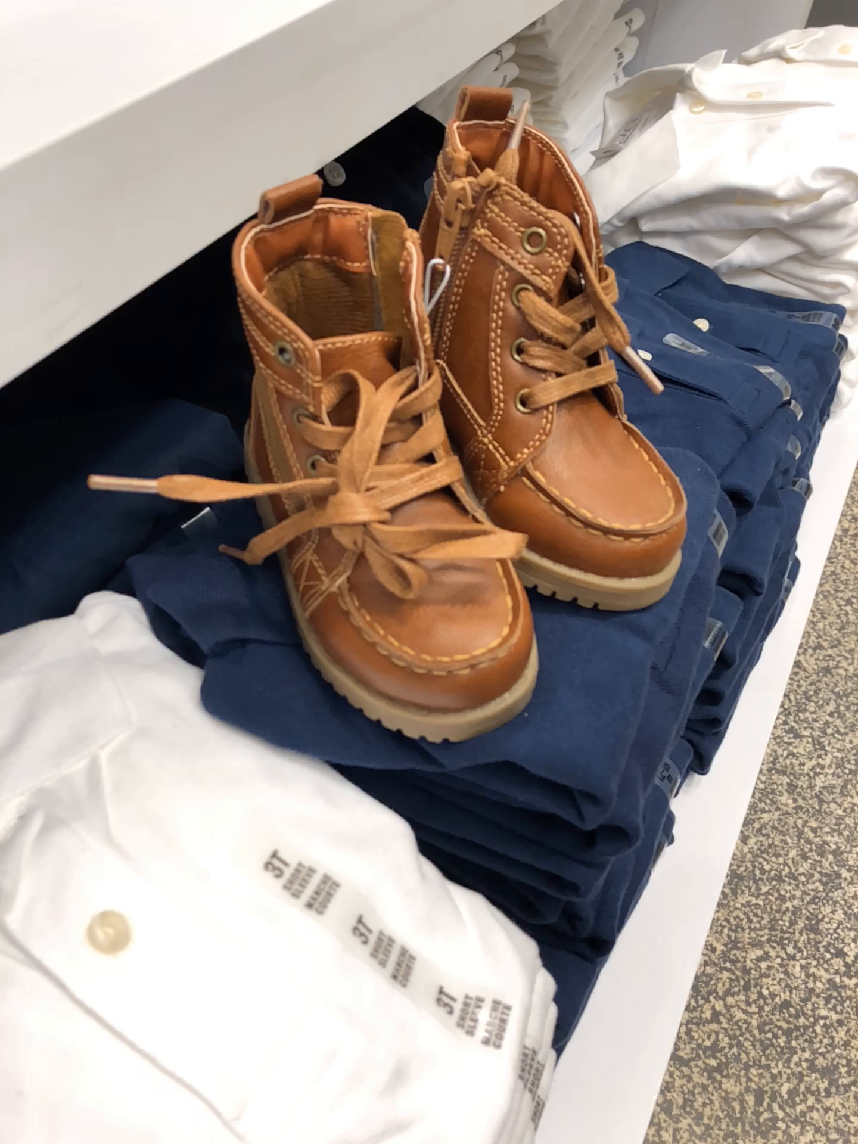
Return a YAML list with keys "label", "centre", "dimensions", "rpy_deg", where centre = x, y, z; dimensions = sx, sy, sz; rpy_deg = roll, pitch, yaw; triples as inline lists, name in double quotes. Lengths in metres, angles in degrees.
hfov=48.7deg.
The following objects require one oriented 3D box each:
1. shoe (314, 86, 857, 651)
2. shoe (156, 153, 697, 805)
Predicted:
- label: "shoe"
  centre: [0.040, -0.076, 0.319]
  dimensions: [0.080, 0.101, 0.161]
  rpy_deg: [-22, 55, -29]
- label: "shoe"
  centre: [-0.010, -0.032, 0.282]
  dimensions: [0.080, 0.101, 0.151]
  rpy_deg: [-21, 54, -16]
